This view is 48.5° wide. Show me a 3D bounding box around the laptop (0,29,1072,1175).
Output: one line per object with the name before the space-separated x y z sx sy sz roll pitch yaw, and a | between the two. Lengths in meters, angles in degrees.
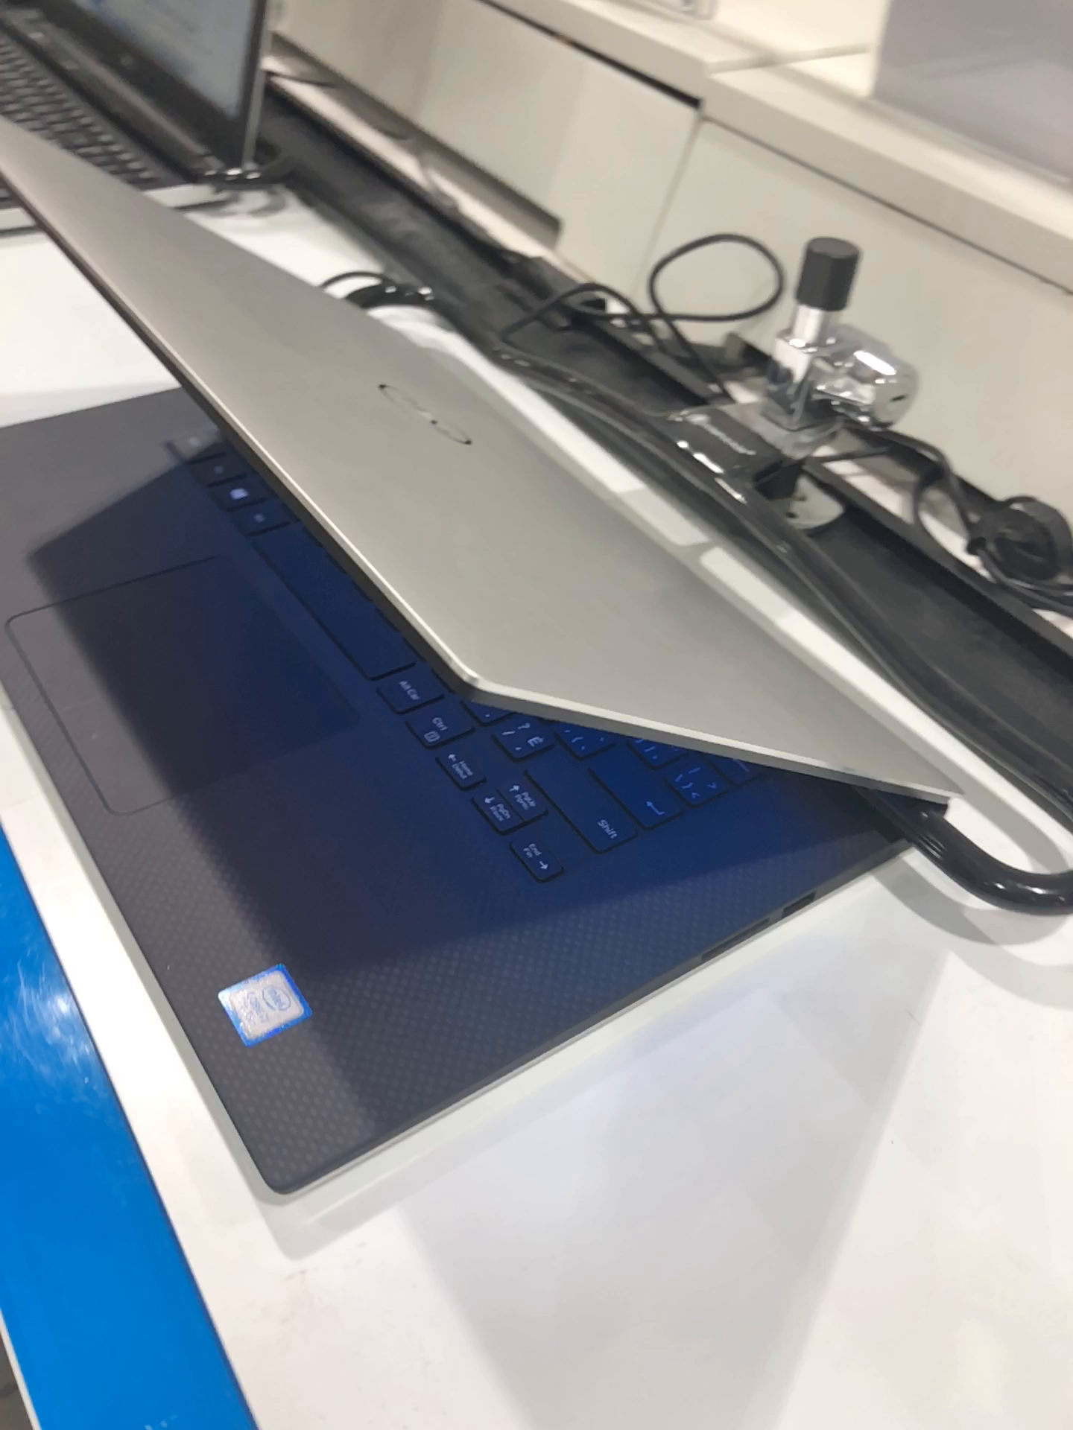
laptop | -0.062 -0.085 0.370 0.216 0.133 0.346 -23 50 -27
